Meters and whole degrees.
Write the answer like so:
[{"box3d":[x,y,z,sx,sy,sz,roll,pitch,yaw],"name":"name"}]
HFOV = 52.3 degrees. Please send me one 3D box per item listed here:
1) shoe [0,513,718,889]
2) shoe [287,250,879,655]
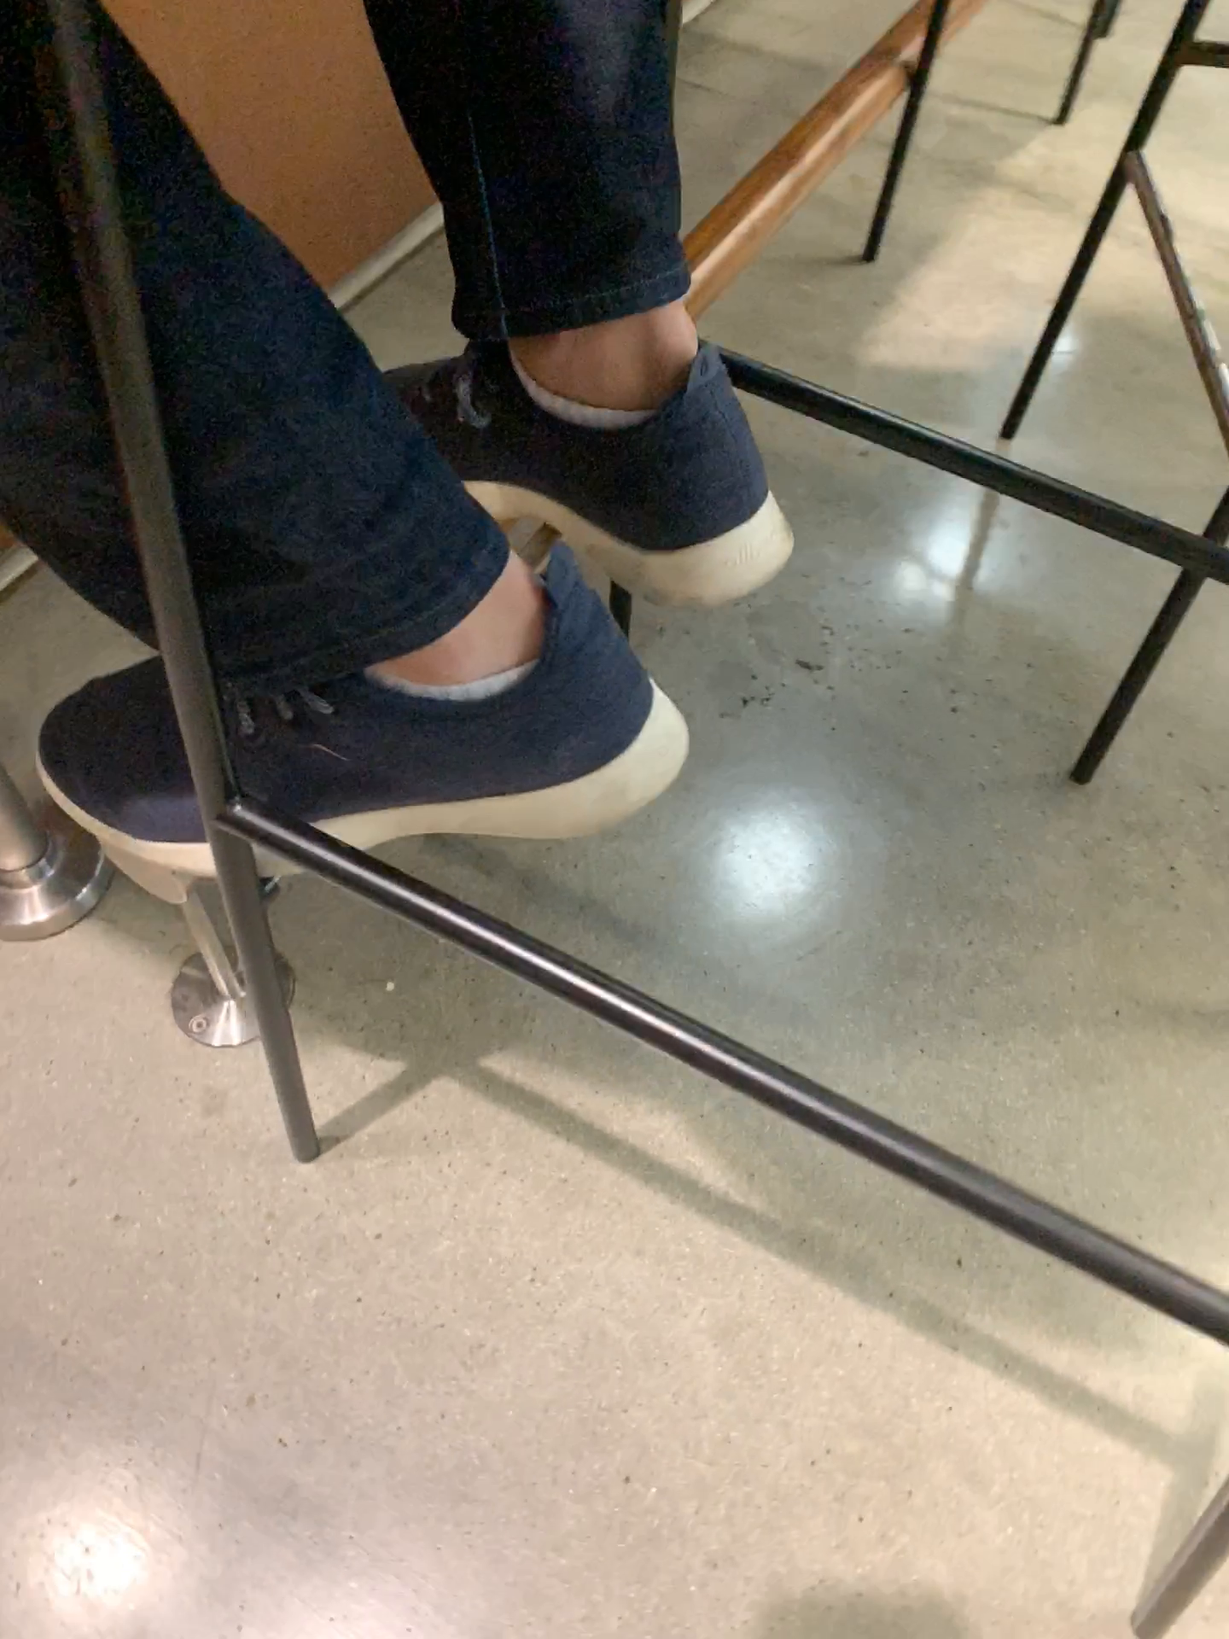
[{"box3d":[-0.114,-0.048,0.547,0.299,0.093,0.124,0,49,13],"name":"shoe"},{"box3d":[-0.024,-0.210,0.672,0.301,0.093,0.129,31,54,33],"name":"shoe"}]
